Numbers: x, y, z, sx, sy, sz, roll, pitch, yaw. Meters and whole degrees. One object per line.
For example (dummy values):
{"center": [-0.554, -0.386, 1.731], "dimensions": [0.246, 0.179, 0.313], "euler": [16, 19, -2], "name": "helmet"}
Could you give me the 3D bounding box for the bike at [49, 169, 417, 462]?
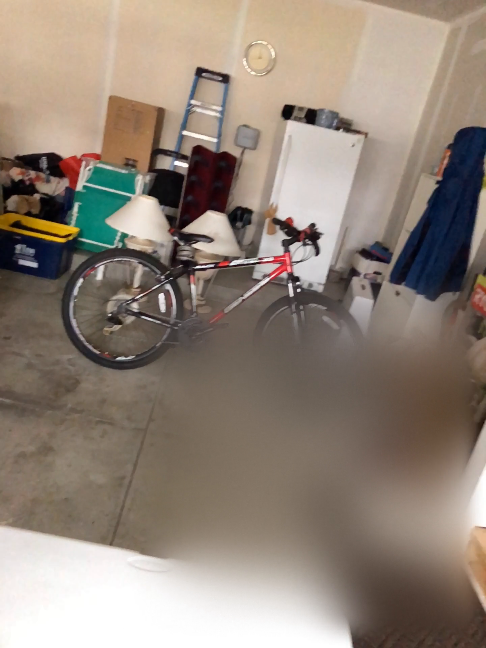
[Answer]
{"center": [-0.144, -0.097, 2.933], "dimensions": [1.668, 1.054, 0.591], "euler": [15, 19, 4], "name": "bike"}
